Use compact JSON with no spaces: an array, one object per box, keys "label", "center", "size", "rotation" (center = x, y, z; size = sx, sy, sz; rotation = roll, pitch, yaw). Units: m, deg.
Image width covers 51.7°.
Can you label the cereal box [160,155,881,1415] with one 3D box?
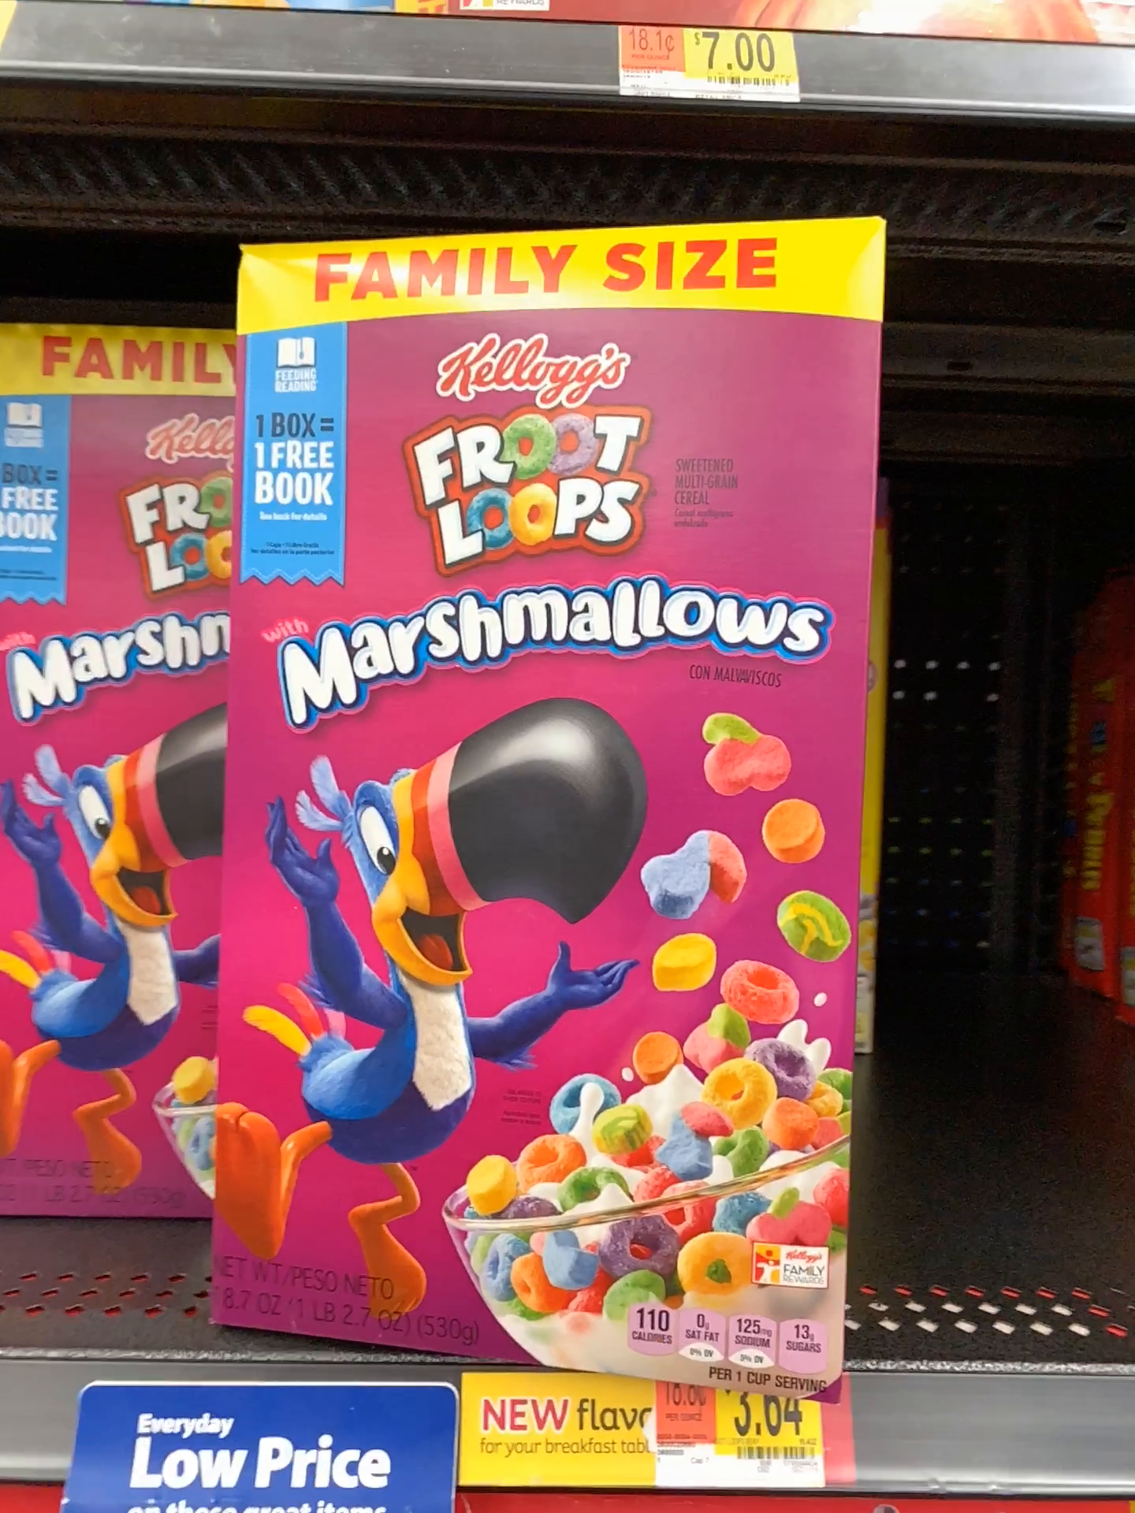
[{"label":"cereal box","center":[-0.013,0.005,0.373],"size":[0.200,0.340,0.080],"rotation":[2,1,11]}]
